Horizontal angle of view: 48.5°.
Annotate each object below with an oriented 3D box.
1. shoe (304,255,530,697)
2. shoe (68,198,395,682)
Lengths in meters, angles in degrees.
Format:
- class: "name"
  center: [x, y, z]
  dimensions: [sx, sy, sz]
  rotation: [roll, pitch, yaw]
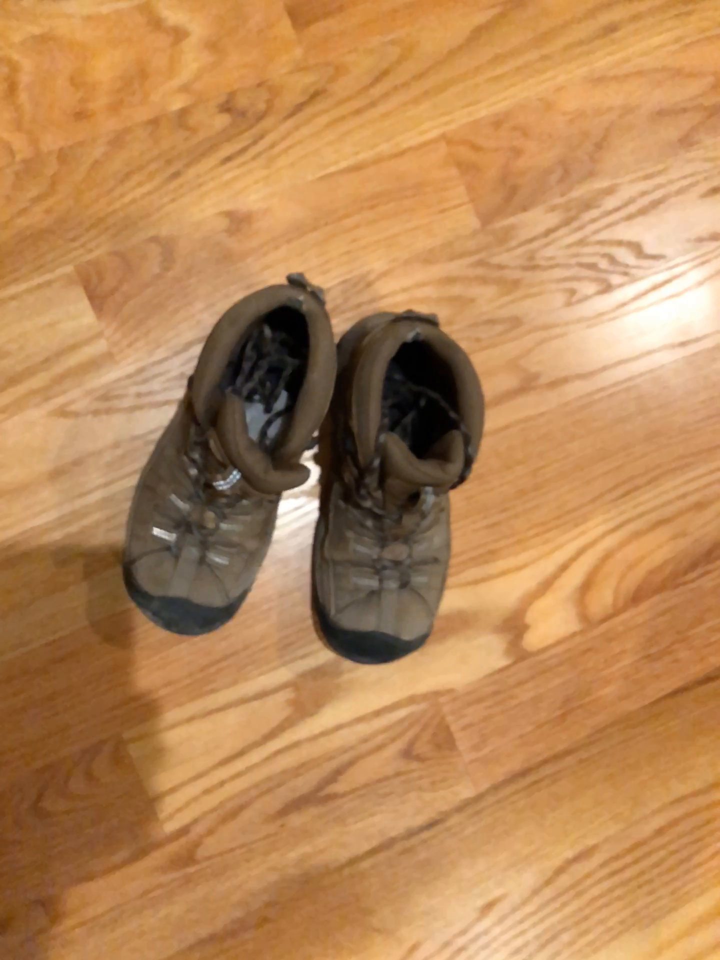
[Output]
- class: "shoe"
  center: [0.032, 0.000, 0.551]
  dimensions: [0.107, 0.139, 0.259]
  rotation: [4, 88, -10]
- class: "shoe"
  center: [-0.083, -0.022, 0.531]
  dimensions: [0.107, 0.139, 0.259]
  rotation: [19, 85, -9]
